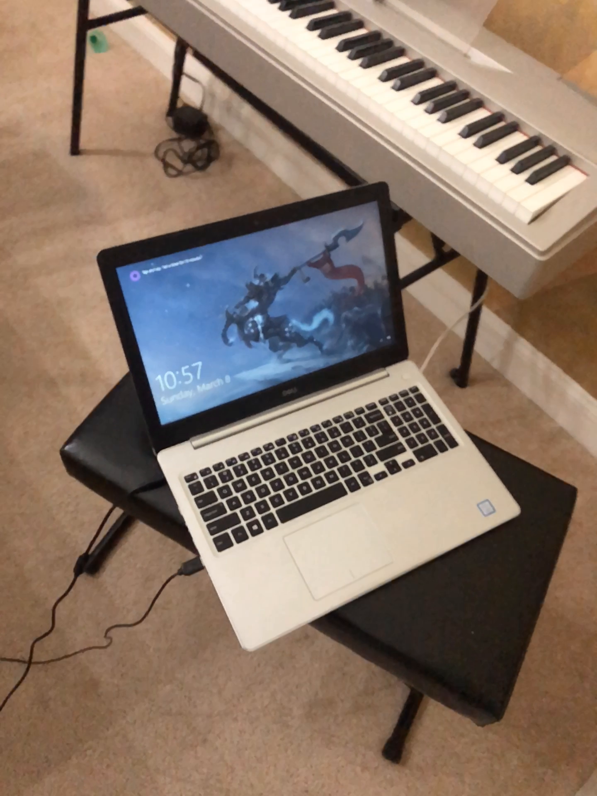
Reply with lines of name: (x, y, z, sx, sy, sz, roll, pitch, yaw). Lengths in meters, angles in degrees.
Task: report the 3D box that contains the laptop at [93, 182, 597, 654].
laptop: (0.030, -0.006, 0.757, 0.375, 0.184, 0.409, -21, 62, -21)
